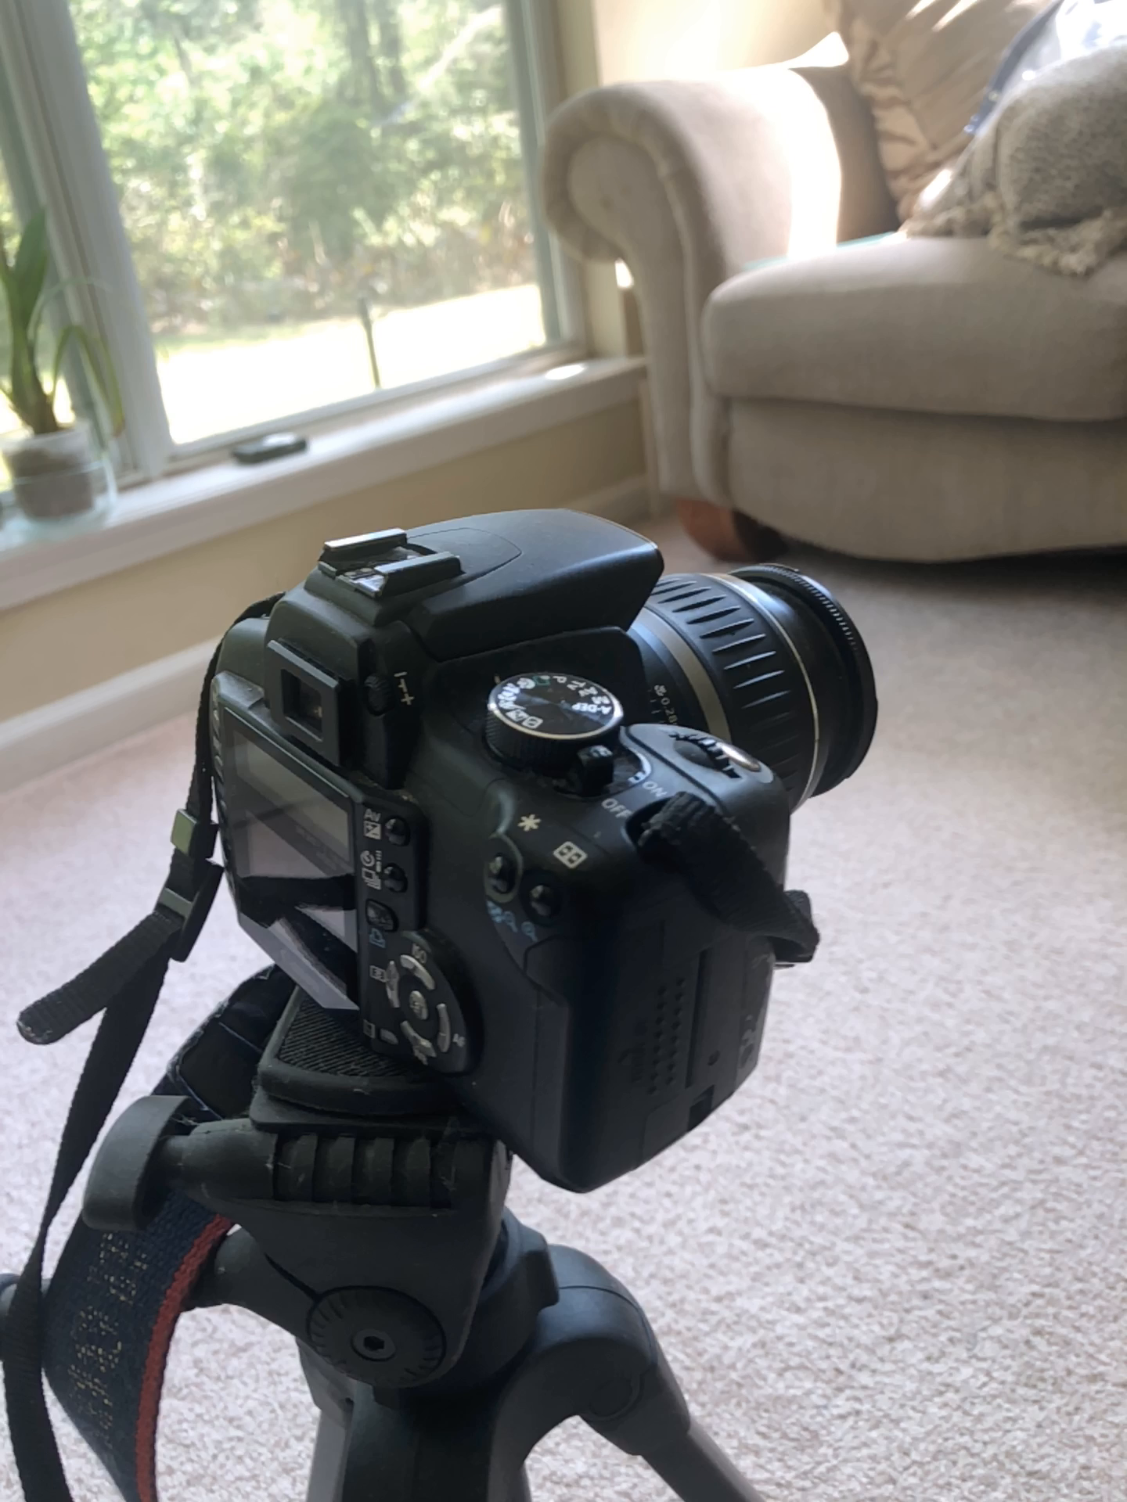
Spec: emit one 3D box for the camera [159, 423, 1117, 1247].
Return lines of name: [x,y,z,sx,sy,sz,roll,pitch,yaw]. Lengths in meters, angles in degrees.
camera: [0.014,-0.003,0.271,0.142,0.093,0.131,-21,36,-40]
